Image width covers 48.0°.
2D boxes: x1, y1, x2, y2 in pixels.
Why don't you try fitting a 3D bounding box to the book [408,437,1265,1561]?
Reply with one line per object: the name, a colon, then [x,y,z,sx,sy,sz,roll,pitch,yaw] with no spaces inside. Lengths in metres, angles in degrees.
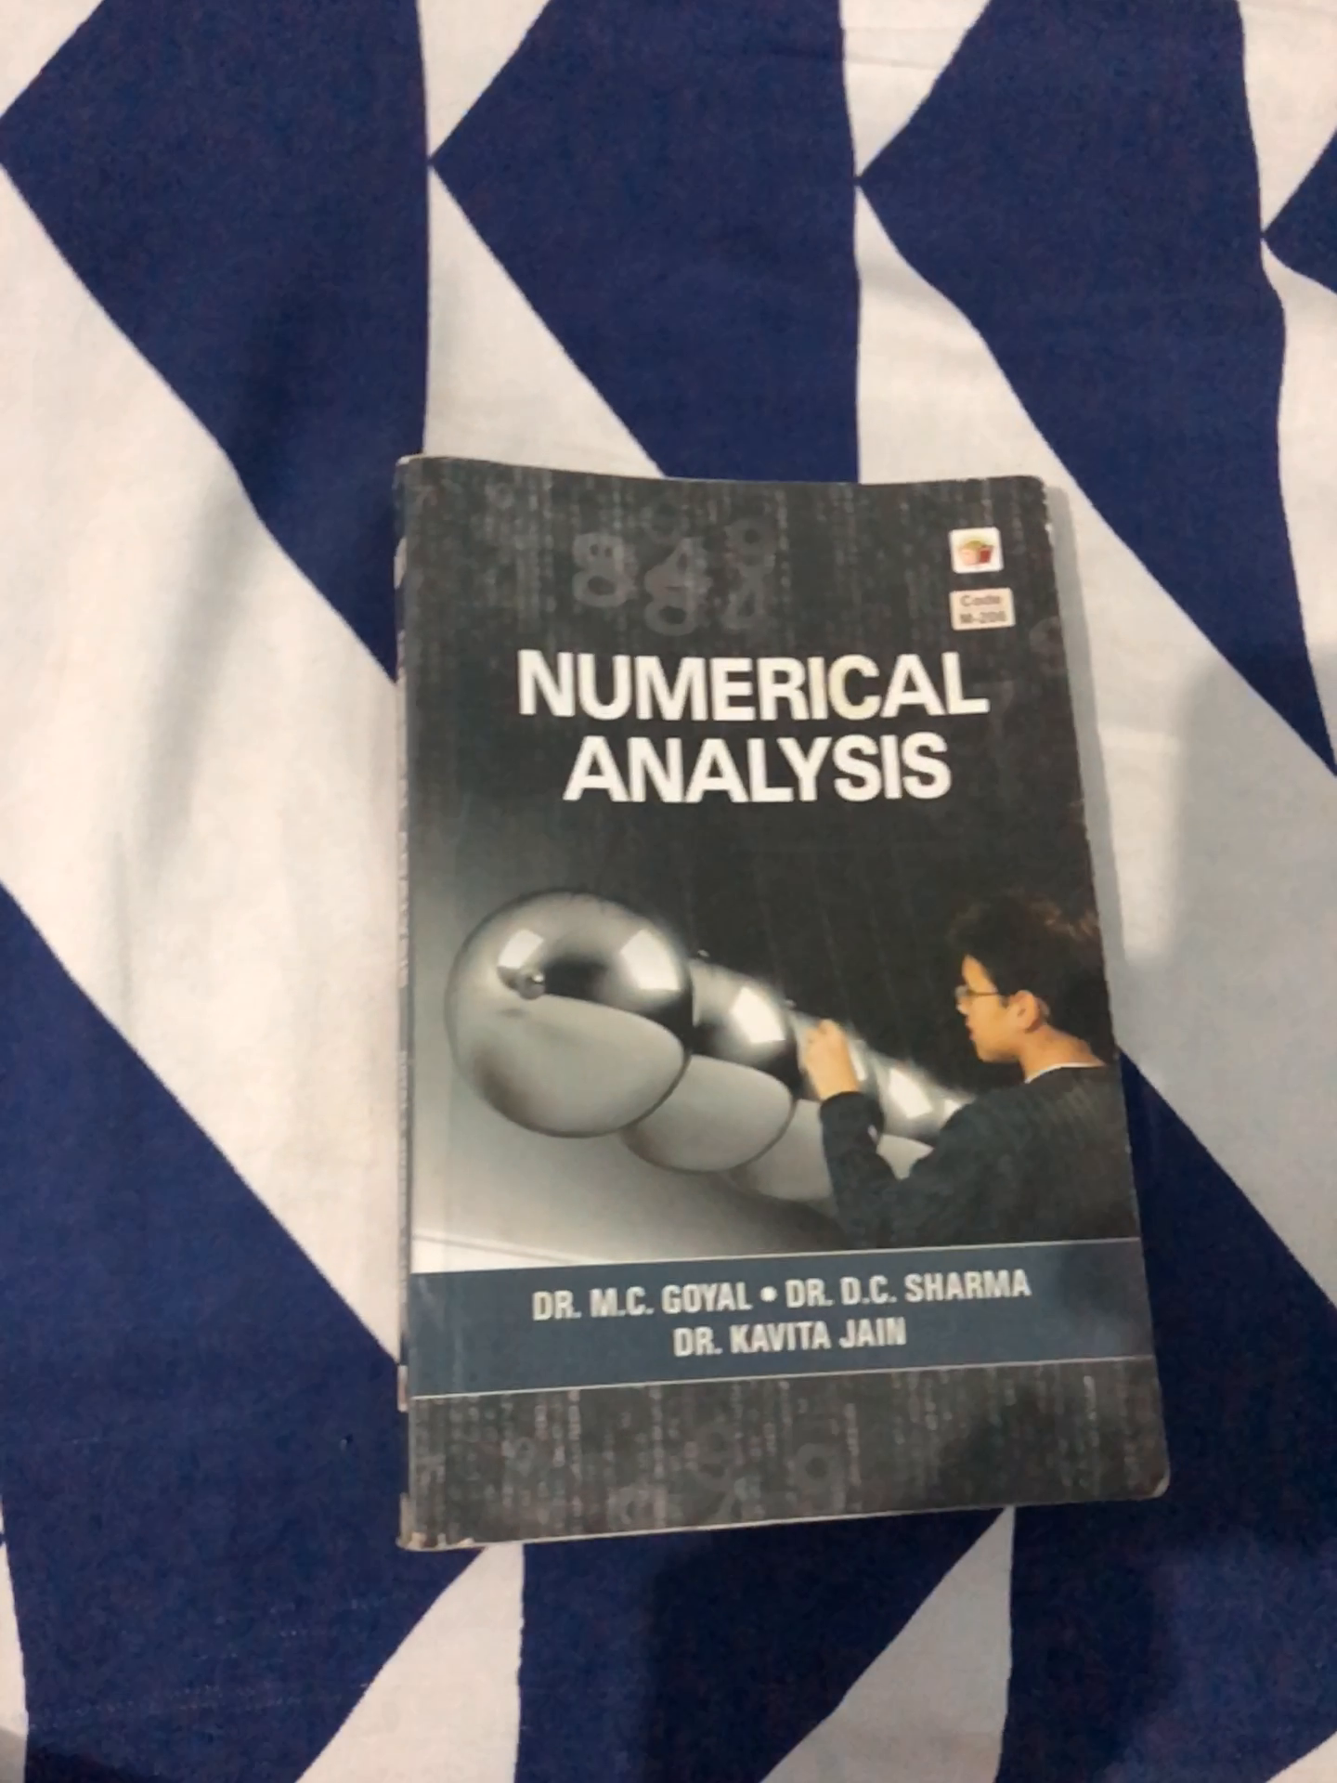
book: [0.024,0.013,0.276,0.140,0.030,0.190,-1,78,-8]
